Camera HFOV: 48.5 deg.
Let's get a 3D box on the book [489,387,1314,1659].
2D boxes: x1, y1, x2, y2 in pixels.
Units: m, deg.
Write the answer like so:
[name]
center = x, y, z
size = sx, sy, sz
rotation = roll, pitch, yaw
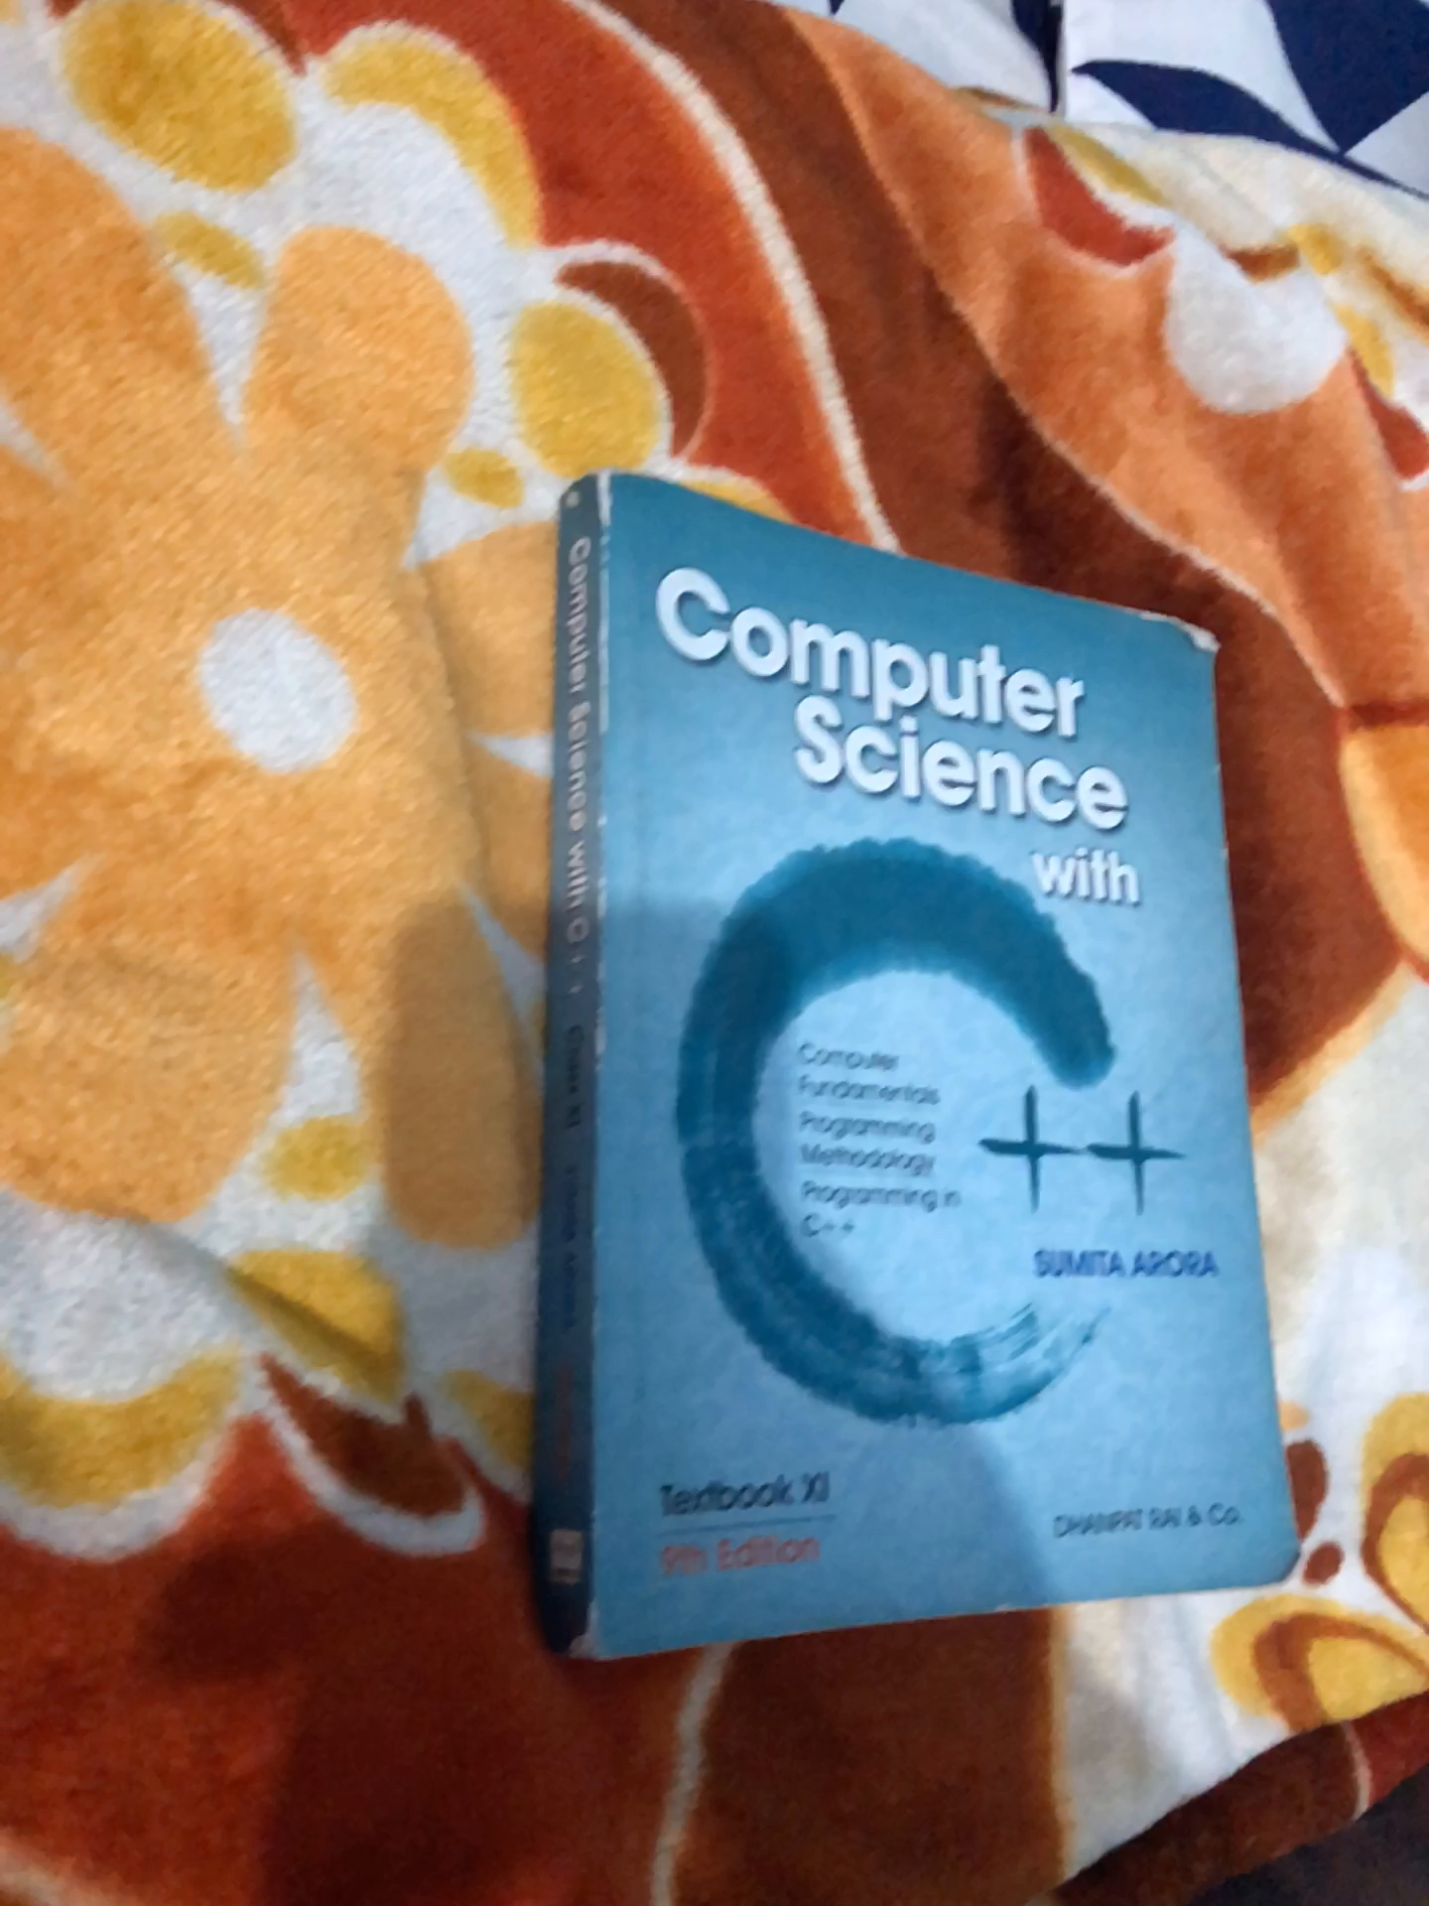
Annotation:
[book]
center = 0.054, 0.019, 0.401
size = 0.211, 0.040, 0.270
rotation = 8, 76, -30
